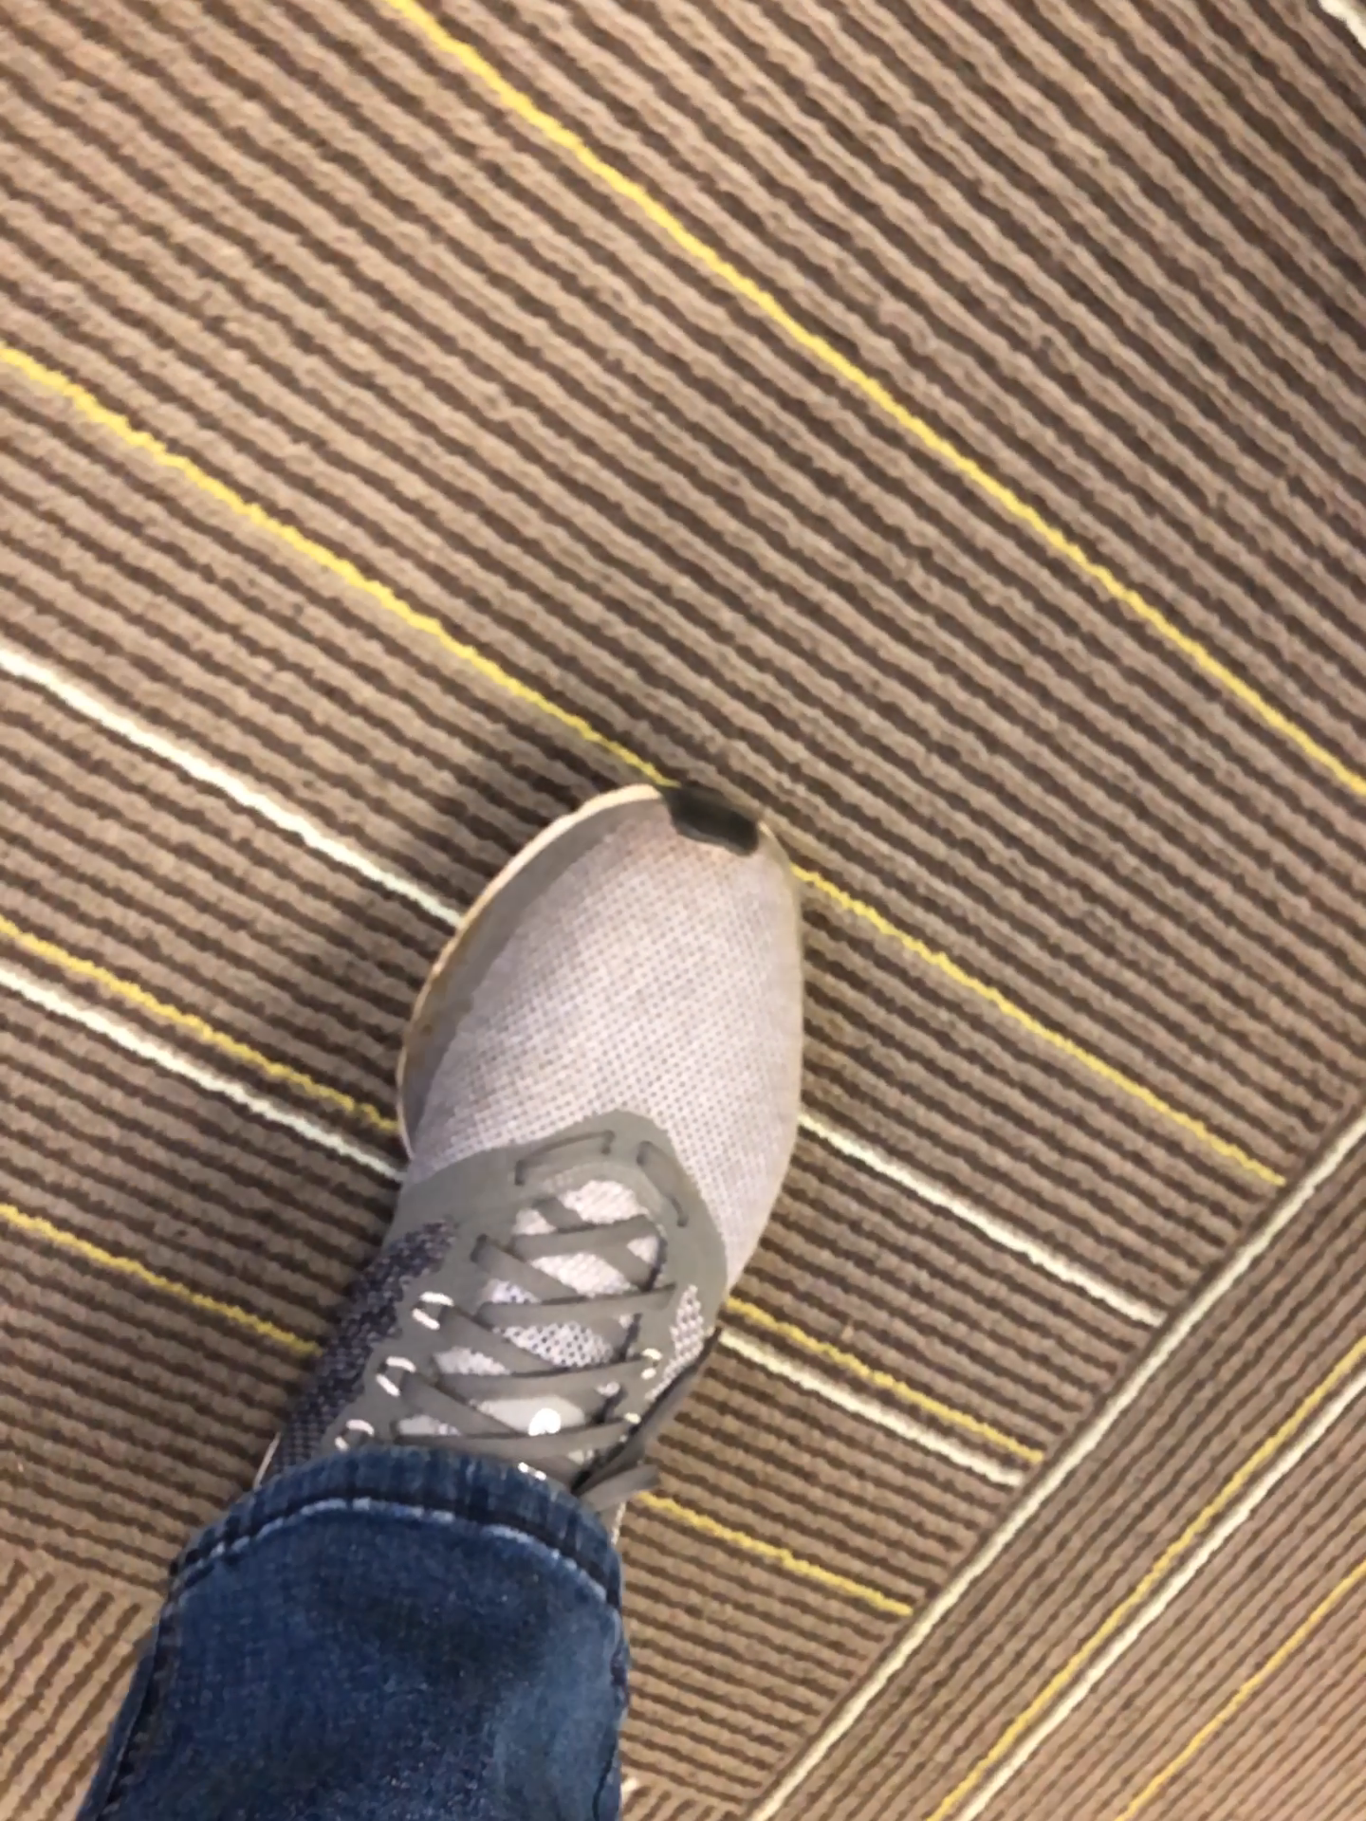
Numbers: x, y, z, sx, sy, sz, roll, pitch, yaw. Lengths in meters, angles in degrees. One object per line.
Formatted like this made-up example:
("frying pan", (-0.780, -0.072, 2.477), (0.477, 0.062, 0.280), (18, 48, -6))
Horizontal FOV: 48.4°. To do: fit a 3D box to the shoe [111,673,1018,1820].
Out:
("shoe", (-0.037, 0.102, 0.407), (0.120, 0.060, 0.300), (21, 98, -17))
